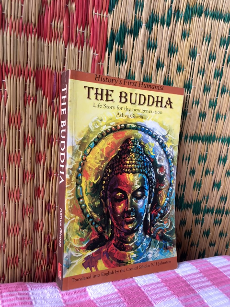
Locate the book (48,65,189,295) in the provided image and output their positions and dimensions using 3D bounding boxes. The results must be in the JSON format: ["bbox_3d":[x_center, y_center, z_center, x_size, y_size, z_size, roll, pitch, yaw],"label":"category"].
[{"bbox_3d":[0.009,0.025,0.275,0.146,0.207,0.030,2,0,-25],"label":"book"}]
